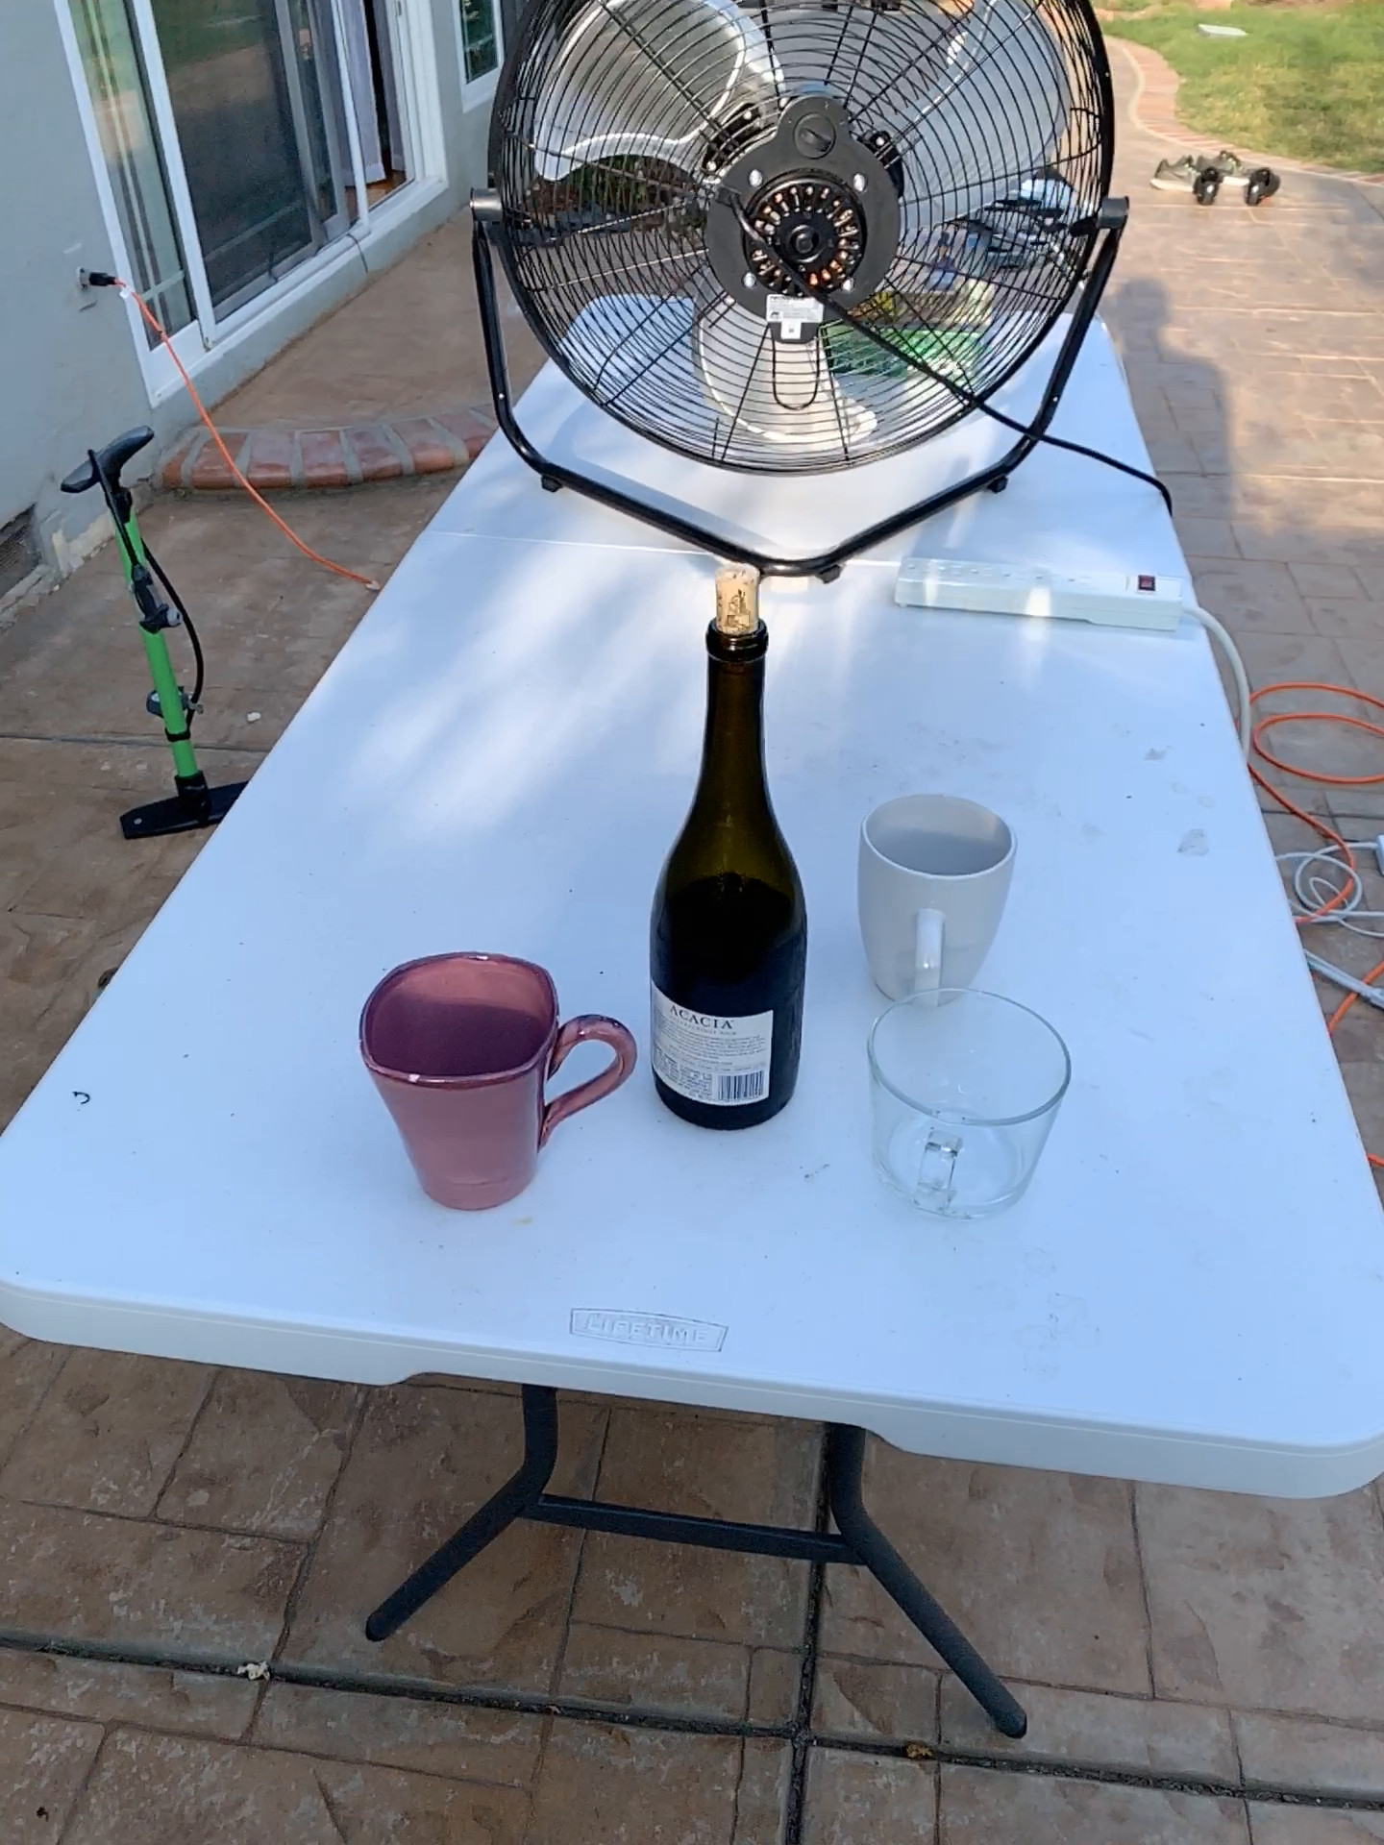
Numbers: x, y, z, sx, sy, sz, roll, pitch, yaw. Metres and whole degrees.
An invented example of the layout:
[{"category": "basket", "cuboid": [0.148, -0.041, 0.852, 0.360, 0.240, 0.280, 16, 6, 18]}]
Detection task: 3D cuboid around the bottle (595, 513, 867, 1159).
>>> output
[{"category": "bottle", "cuboid": [0.019, -0.033, 0.730, 0.087, 0.318, 0.087, 0, 38, 0]}]
